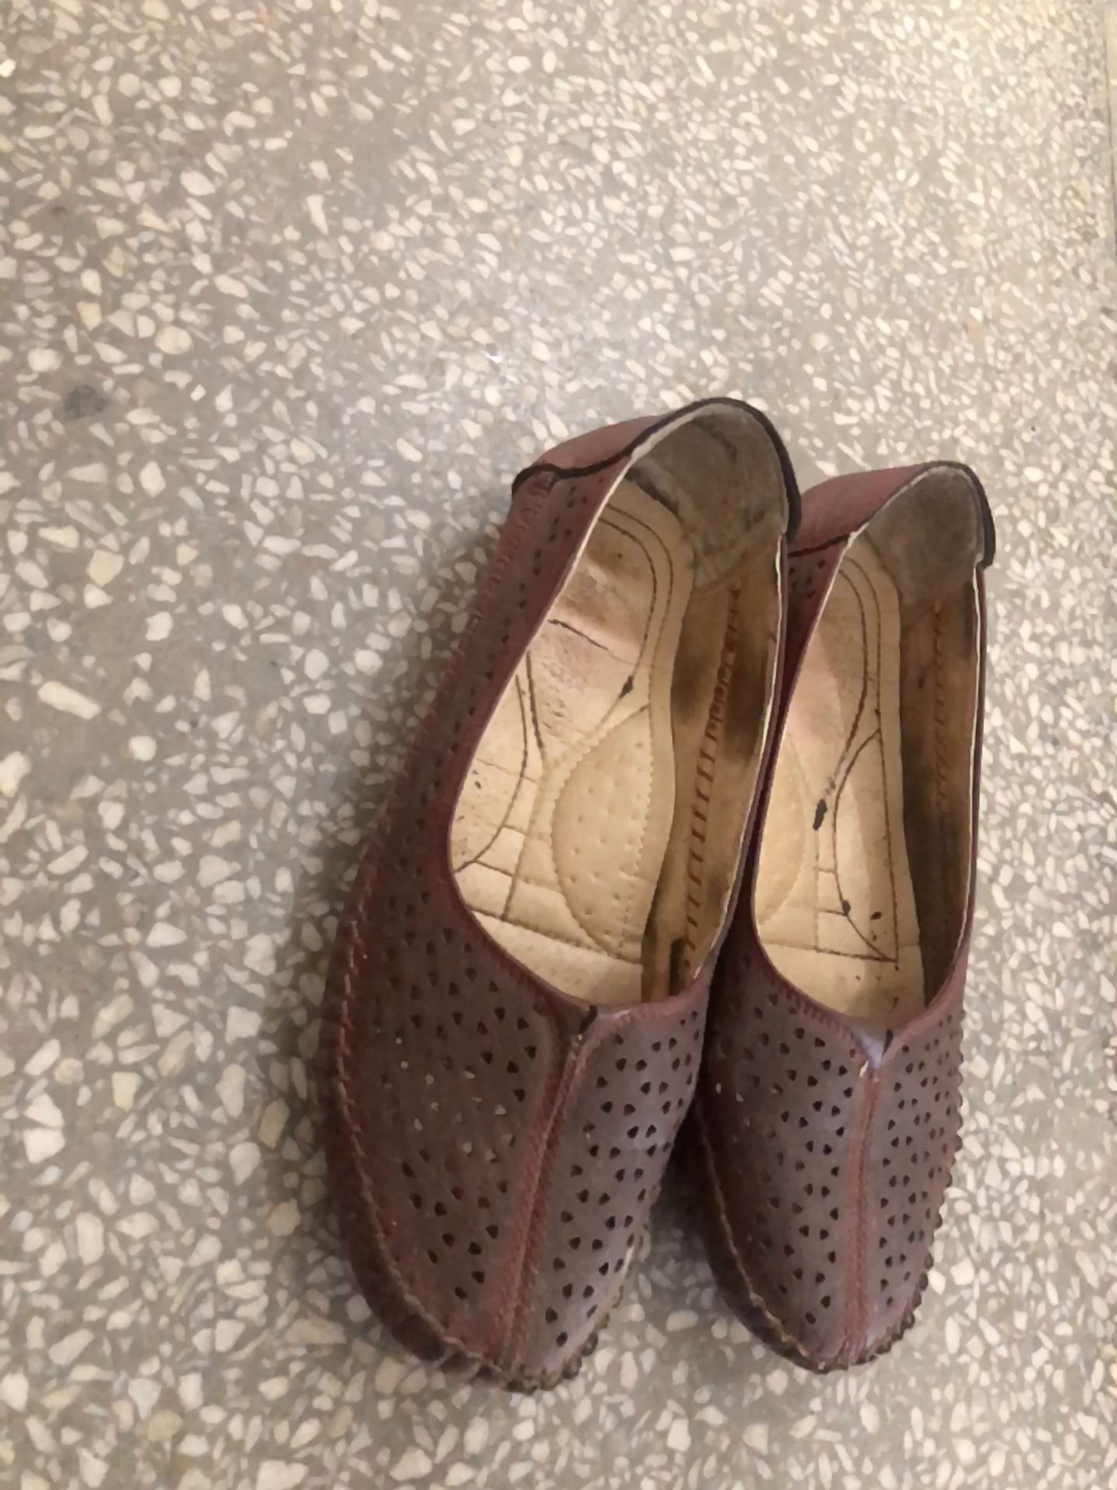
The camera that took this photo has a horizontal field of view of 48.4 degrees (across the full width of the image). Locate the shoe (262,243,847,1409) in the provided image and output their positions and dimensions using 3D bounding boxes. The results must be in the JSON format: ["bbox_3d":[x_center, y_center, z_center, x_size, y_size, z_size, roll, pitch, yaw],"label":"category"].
[{"bbox_3d":[0.008,0.012,0.302,0.090,0.060,0.250,19,66,-23],"label":"shoe"}]

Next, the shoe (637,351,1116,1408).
[{"bbox_3d":[0.083,0.030,0.331,0.090,0.060,0.250,15,67,-24],"label":"shoe"}]
